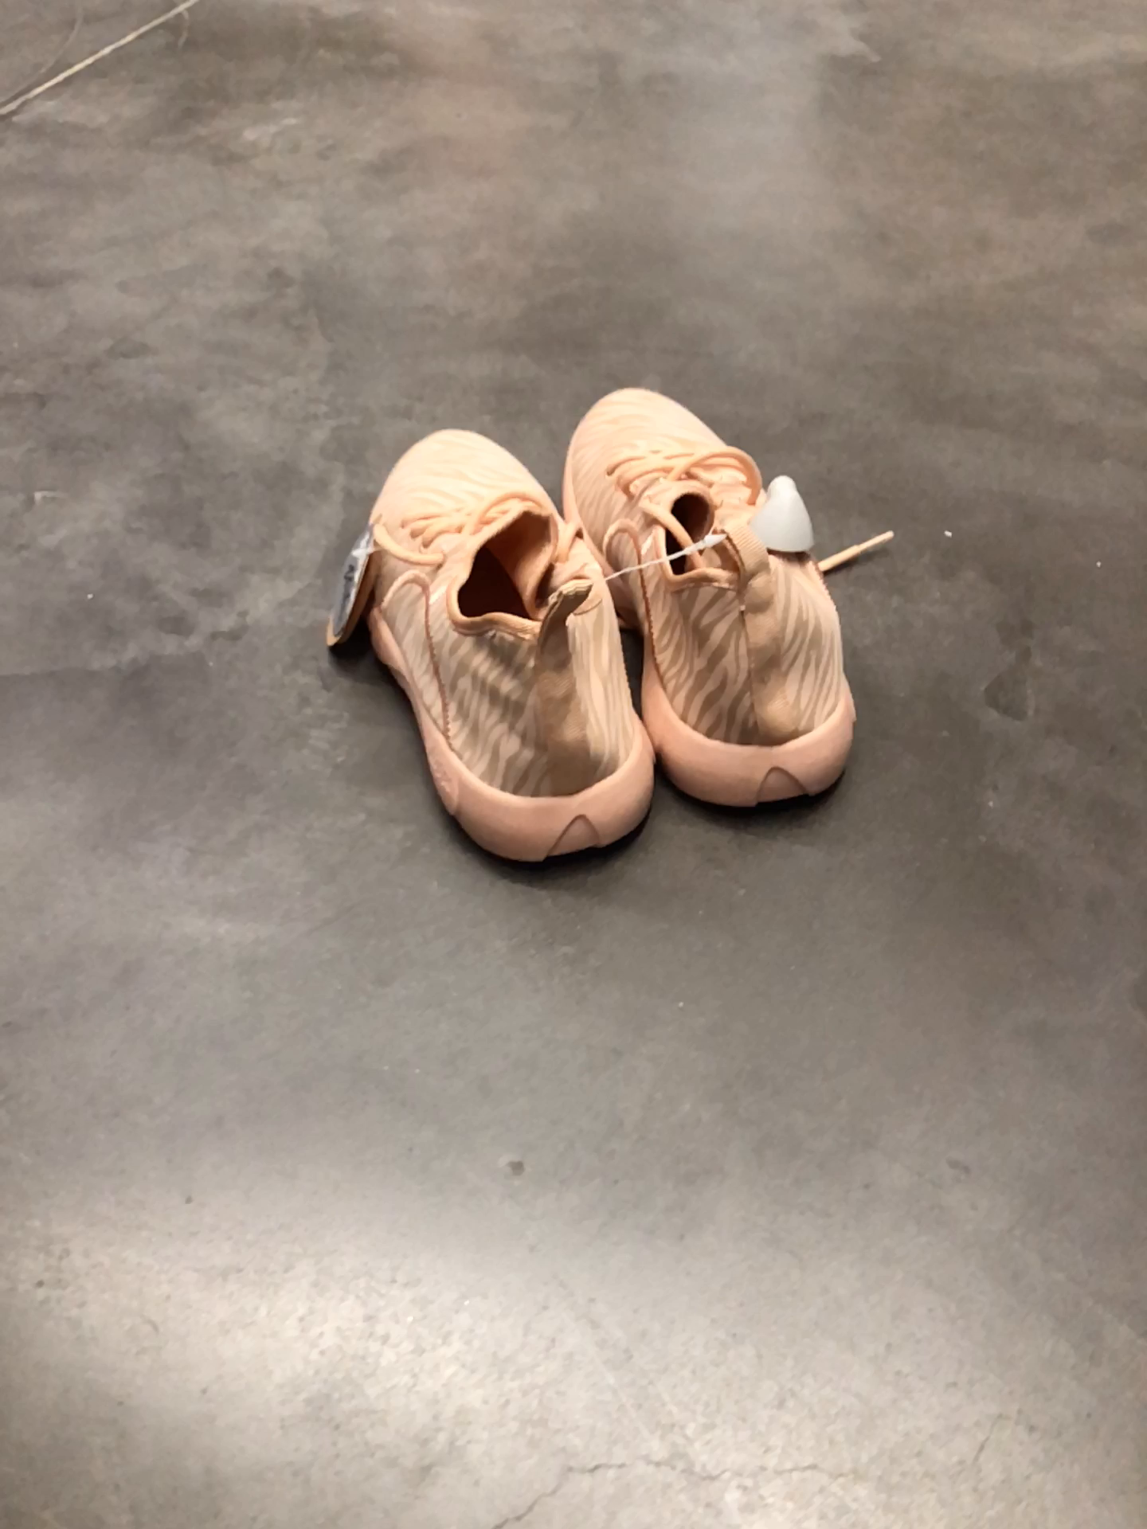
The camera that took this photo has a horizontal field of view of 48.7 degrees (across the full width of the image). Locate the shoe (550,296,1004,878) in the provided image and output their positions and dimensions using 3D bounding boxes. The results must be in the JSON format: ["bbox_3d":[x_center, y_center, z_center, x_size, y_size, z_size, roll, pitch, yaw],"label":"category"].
[{"bbox_3d":[0.063,-0.082,0.499,0.100,0.099,0.231,-9,45,-7],"label":"shoe"}]

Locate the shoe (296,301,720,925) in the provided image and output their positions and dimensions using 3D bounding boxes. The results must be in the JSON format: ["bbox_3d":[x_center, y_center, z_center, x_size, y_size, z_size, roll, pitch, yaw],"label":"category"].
[{"bbox_3d":[-0.033,-0.070,0.473,0.100,0.099,0.231,-12,45,-9],"label":"shoe"}]
